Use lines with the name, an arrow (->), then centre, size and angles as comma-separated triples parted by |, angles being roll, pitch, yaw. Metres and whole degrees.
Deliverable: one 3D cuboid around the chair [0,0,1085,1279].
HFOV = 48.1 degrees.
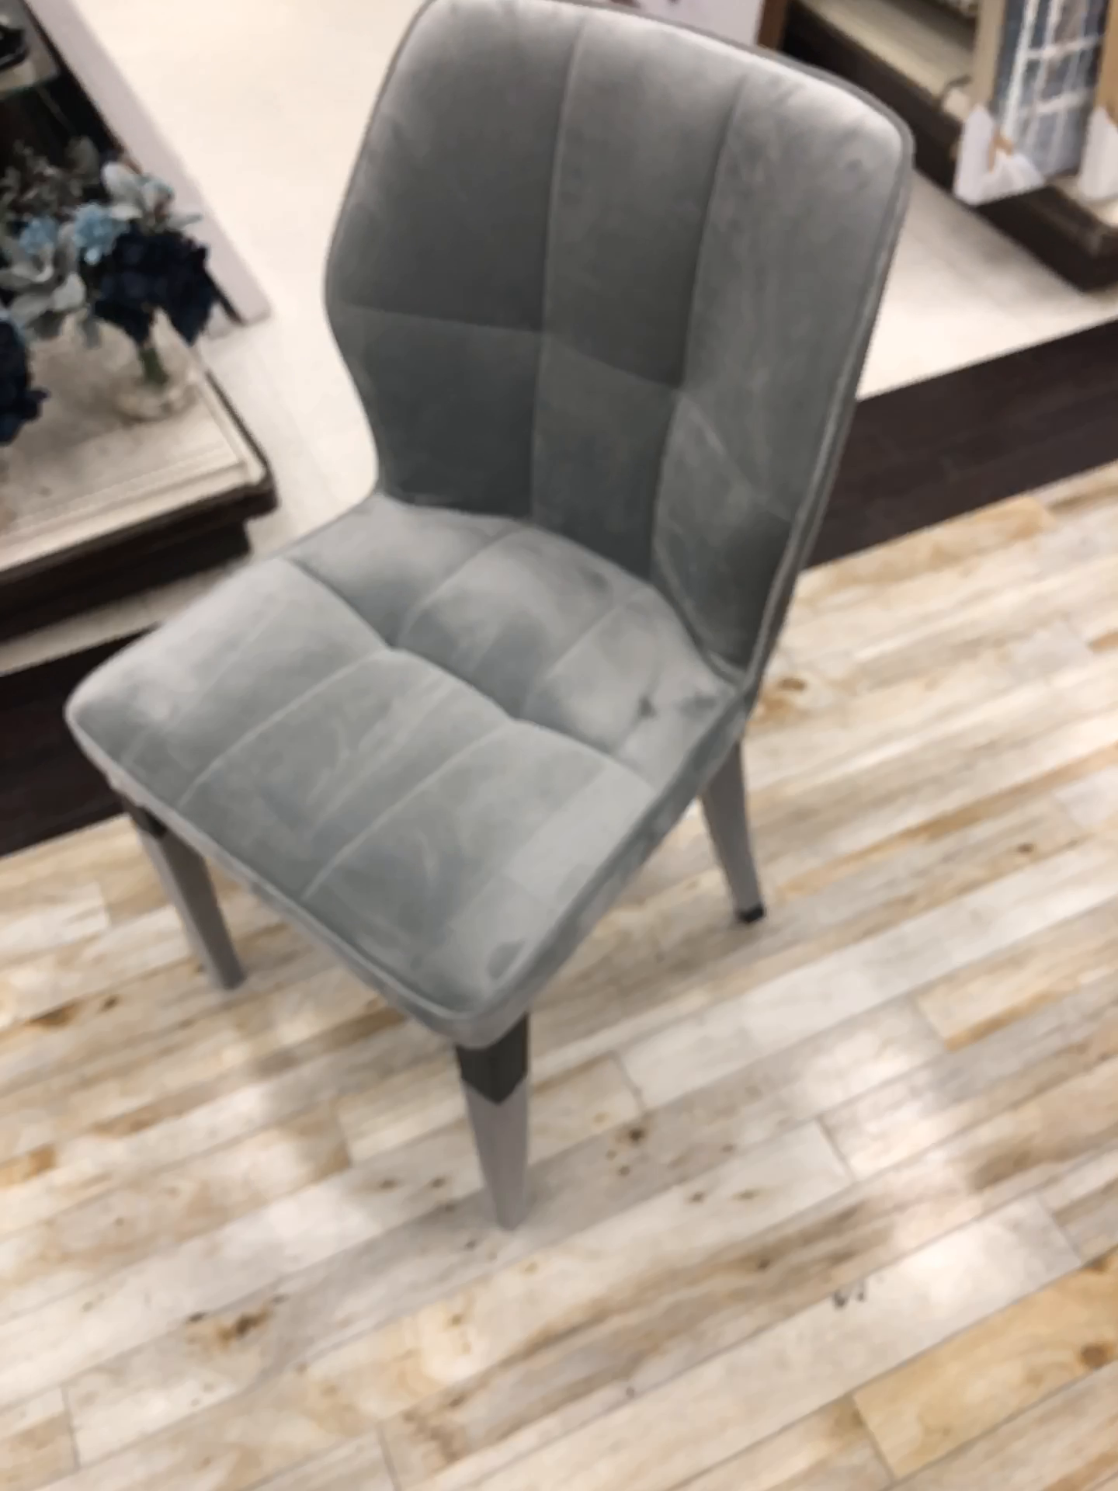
chair -> -0.051, -0.075, 1.076 | 0.531, 0.837, 0.571 | 32, 59, 25
